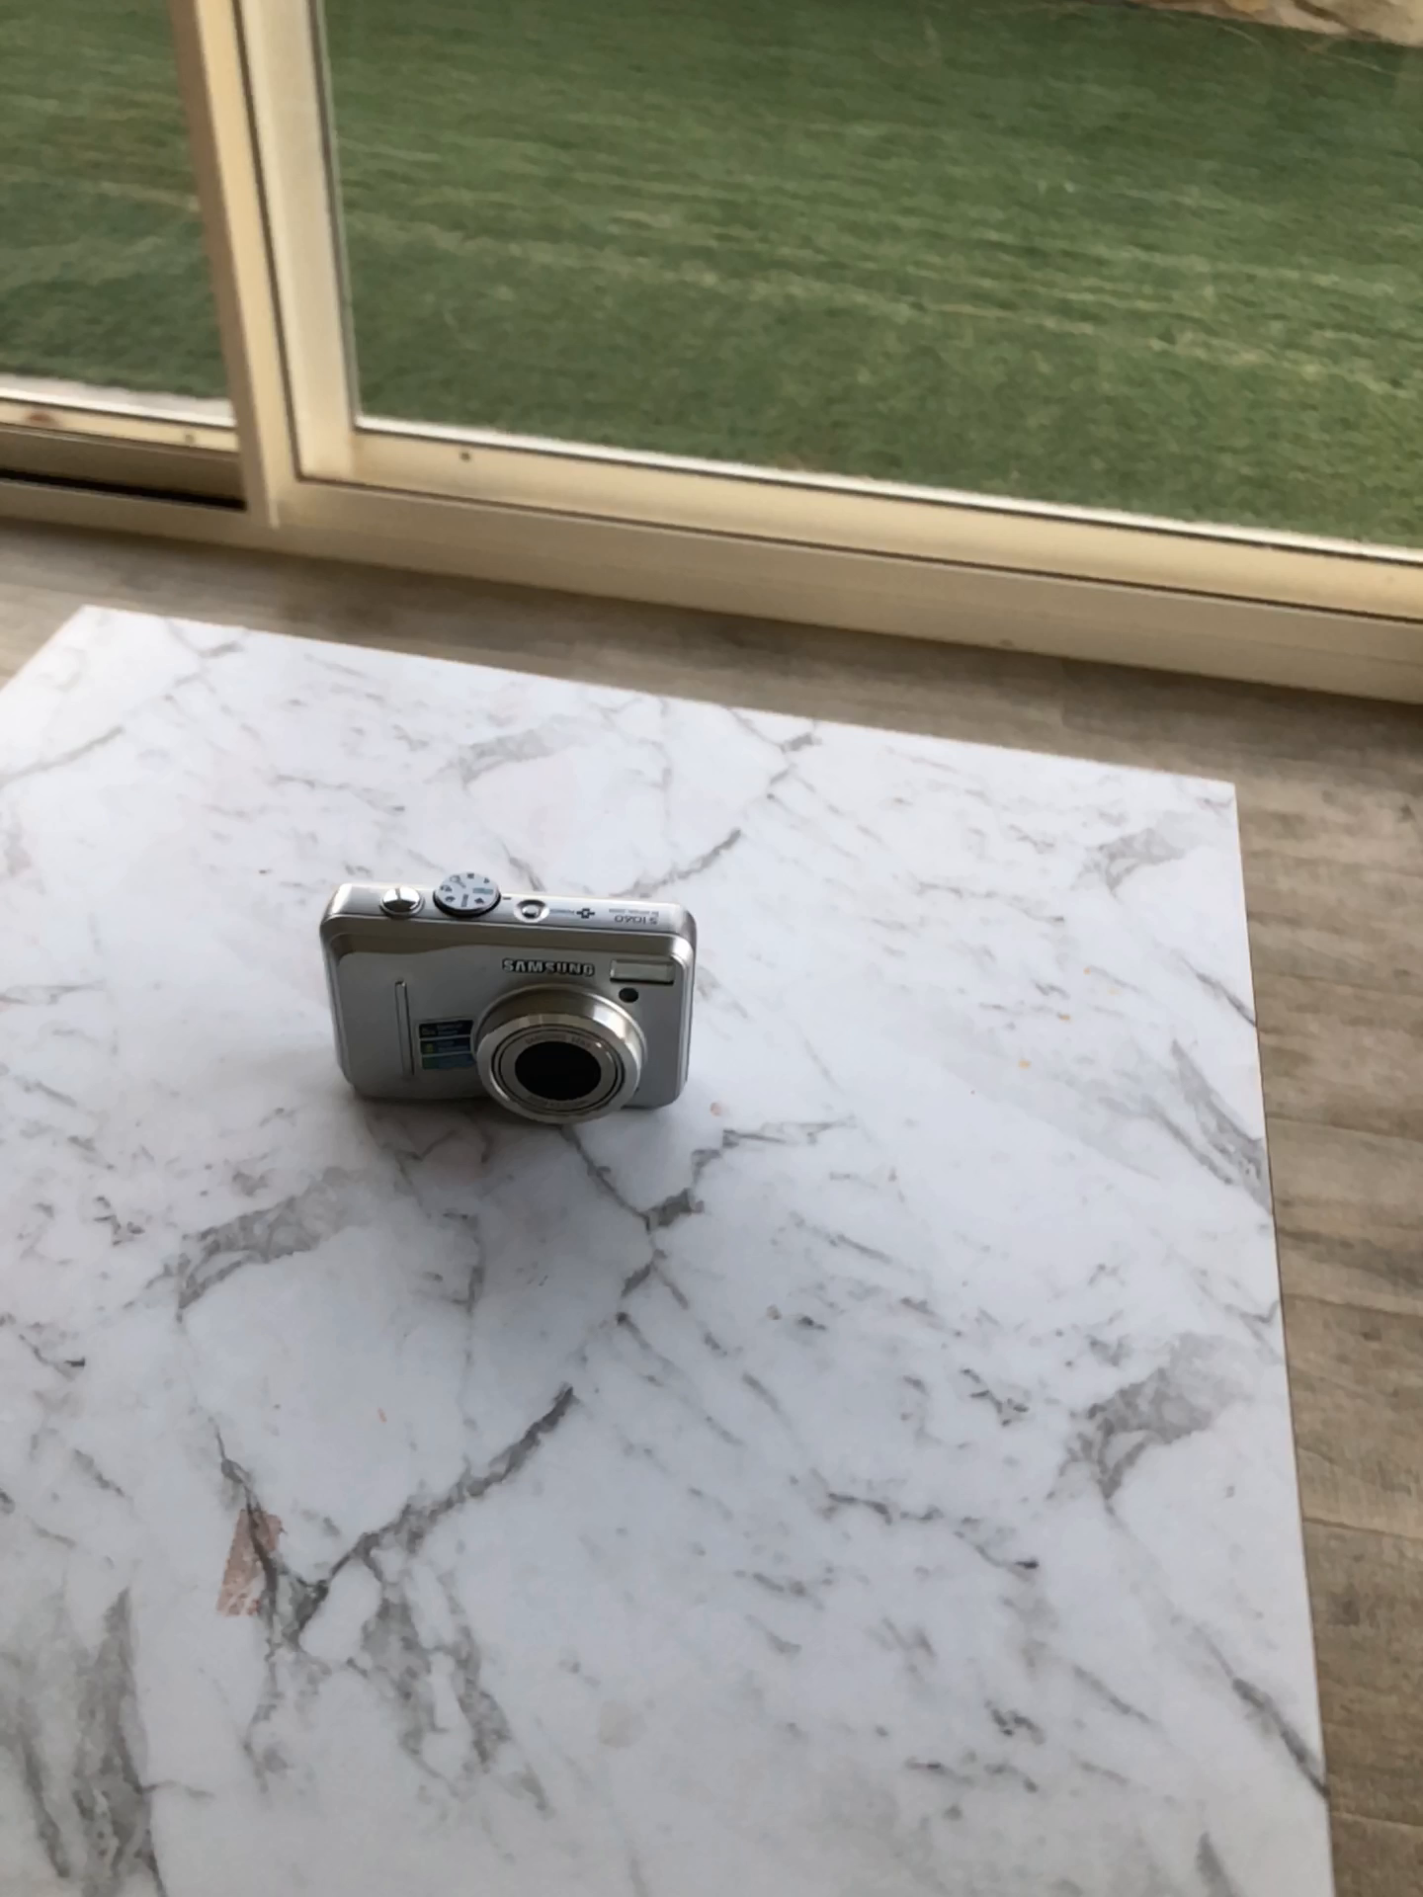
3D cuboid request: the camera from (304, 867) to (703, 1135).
[{"bbox_3d":[-0.054,0.015,0.428,0.099,0.061,0.034,3,42,-1],"label":"camera"}]
